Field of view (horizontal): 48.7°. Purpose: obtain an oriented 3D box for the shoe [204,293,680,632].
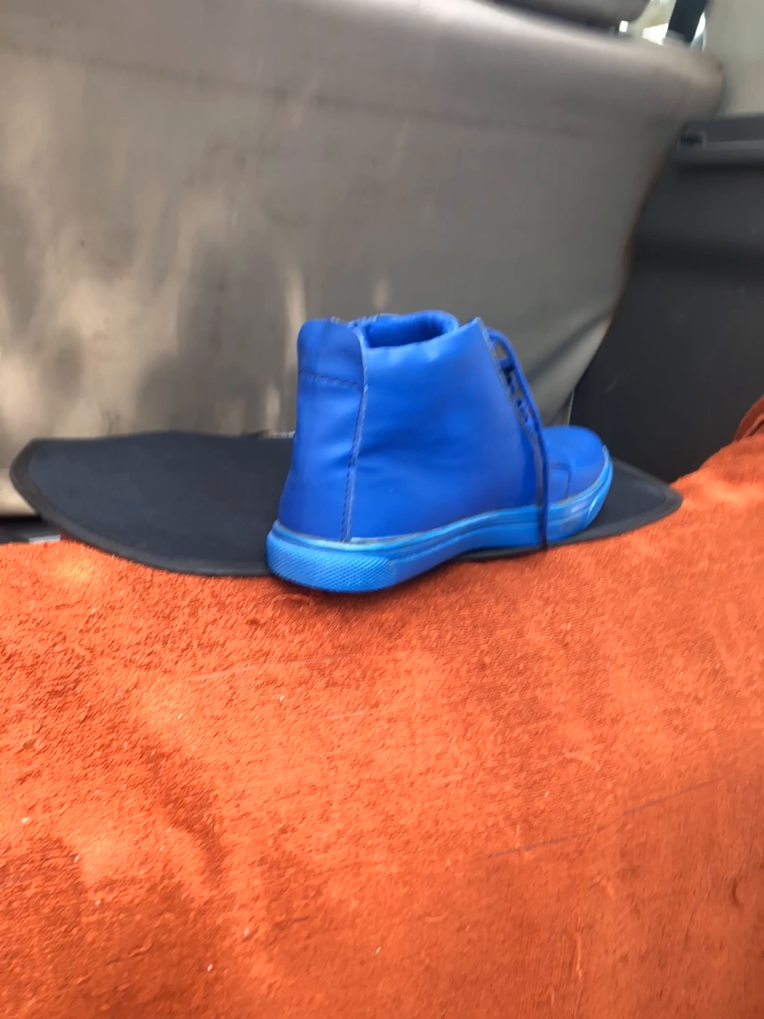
[{"bbox_3d":[0.048,-0.049,0.501,0.291,0.139,0.100,-13,27,-44],"label":"shoe"}]
